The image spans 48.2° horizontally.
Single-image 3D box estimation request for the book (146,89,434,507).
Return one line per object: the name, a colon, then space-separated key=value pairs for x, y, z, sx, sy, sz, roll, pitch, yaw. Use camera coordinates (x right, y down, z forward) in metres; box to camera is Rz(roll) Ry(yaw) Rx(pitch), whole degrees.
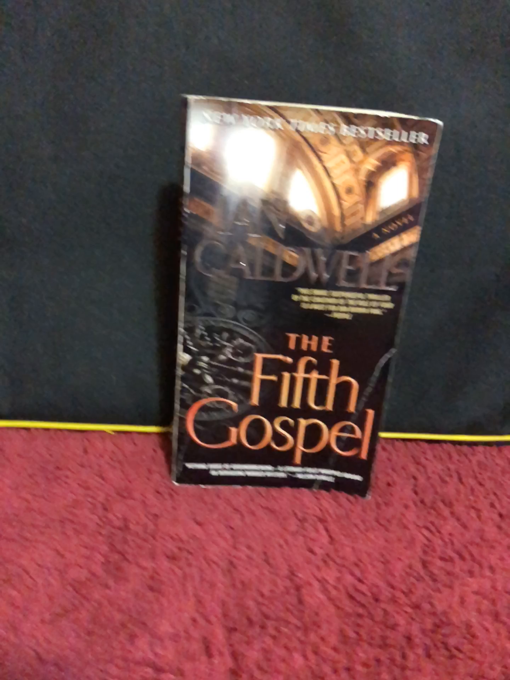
book: x=0.009 y=-0.017 z=0.301 sx=0.120 sy=0.199 sz=0.050 roll=6 pitch=20 yaw=1
